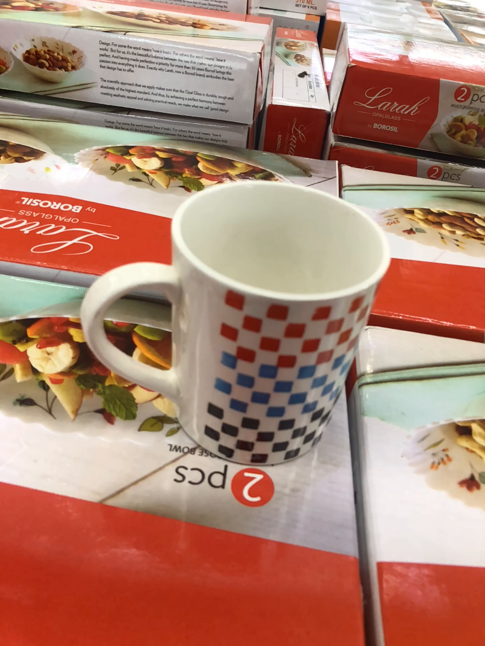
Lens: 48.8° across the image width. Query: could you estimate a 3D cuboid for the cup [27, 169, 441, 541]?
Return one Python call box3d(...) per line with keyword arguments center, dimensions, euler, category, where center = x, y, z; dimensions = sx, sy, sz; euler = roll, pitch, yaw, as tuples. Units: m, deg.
box3d(center=(-0.010, 0.004, 0.217), dimensions=(0.120, 0.089, 0.090), euler=(-13, 44, -25), category="cup")
